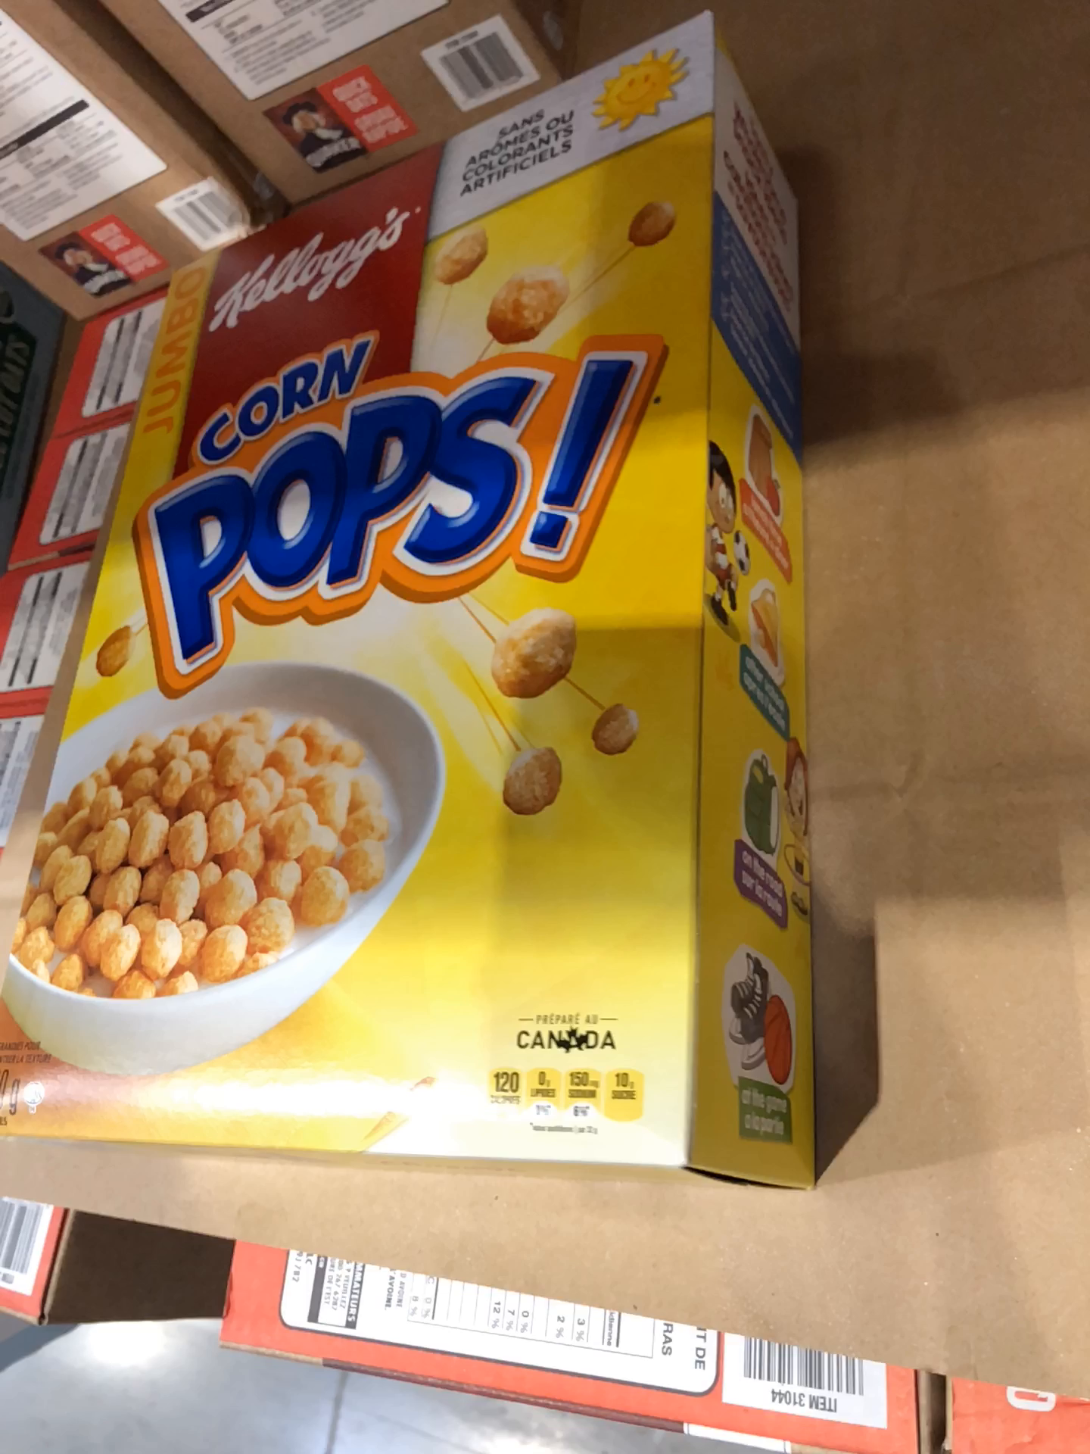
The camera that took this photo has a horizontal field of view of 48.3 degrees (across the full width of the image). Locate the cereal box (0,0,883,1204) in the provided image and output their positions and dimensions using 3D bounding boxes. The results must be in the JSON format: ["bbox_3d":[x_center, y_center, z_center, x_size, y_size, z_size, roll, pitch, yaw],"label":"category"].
[{"bbox_3d":[-0.040,-0.037,0.405,0.271,0.100,0.340,-9,64,32],"label":"cereal box"}]
